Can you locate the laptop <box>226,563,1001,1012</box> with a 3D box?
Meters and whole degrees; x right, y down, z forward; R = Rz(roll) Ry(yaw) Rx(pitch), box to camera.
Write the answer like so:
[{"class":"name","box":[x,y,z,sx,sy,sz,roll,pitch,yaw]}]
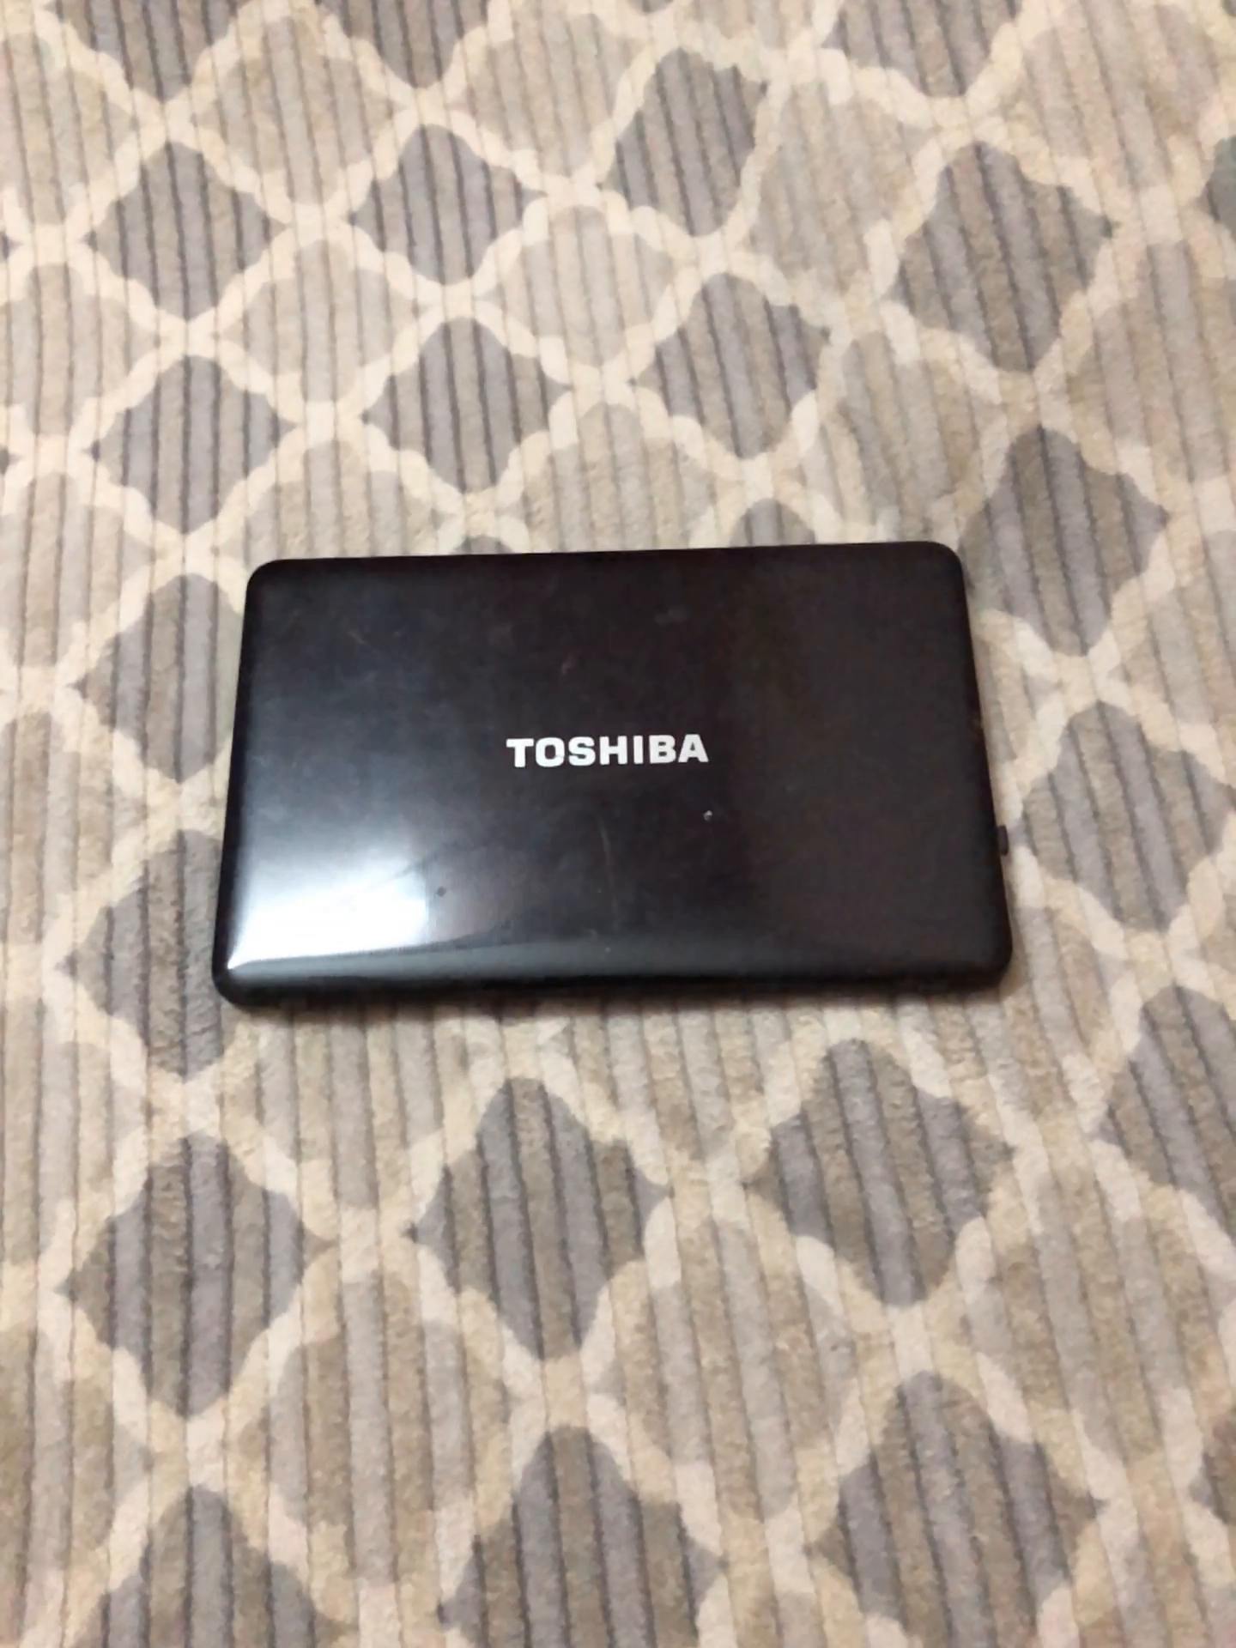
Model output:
[{"class":"laptop","box":[-0.007,-0.026,0.721,0.375,0.023,0.249,-2,65,1]}]
